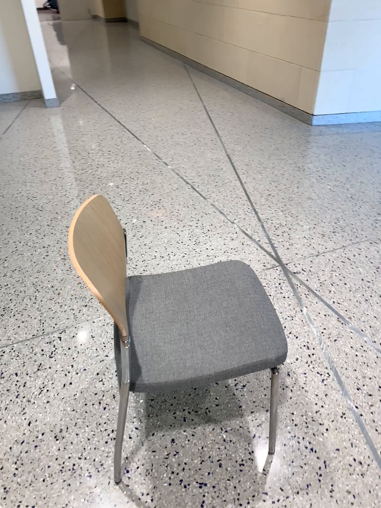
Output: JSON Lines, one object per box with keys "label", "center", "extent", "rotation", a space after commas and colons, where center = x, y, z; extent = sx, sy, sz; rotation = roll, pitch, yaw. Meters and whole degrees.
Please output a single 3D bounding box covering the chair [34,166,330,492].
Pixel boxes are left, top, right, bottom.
{"label": "chair", "center": [-0.037, 0.223, 1.208], "extent": [0.591, 0.768, 0.542], "rotation": [-7, 37, -7]}
